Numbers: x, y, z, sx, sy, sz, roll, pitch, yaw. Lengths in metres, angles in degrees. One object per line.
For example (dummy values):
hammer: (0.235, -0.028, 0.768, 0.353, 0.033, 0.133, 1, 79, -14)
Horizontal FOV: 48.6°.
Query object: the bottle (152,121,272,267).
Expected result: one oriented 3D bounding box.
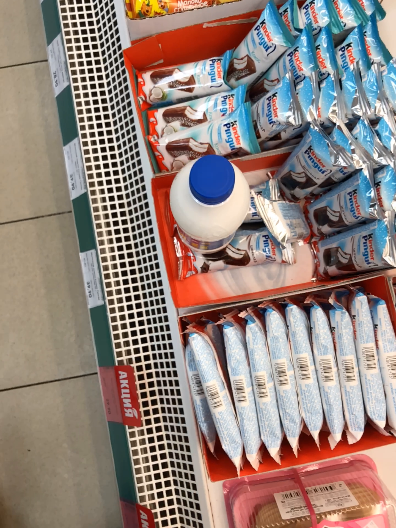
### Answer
bottle: (0.009, -0.045, 0.383, 0.059, 0.204, 0.064, 0, 85, 0)
